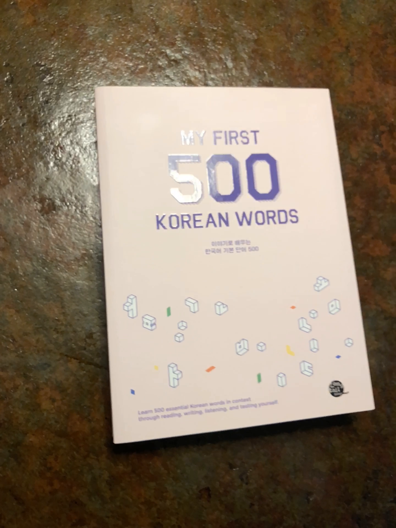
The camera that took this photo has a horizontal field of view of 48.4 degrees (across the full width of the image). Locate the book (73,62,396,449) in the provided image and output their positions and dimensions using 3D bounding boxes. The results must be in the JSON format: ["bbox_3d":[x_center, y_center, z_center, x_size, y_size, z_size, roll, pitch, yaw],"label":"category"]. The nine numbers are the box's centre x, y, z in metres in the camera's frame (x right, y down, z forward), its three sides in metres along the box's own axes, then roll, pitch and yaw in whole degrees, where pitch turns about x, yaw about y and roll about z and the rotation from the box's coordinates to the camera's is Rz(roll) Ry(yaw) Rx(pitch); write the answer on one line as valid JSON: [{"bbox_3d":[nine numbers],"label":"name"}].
[{"bbox_3d":[0.023,-0.016,0.291,0.190,0.030,0.230,-4,81,-12],"label":"book"}]
